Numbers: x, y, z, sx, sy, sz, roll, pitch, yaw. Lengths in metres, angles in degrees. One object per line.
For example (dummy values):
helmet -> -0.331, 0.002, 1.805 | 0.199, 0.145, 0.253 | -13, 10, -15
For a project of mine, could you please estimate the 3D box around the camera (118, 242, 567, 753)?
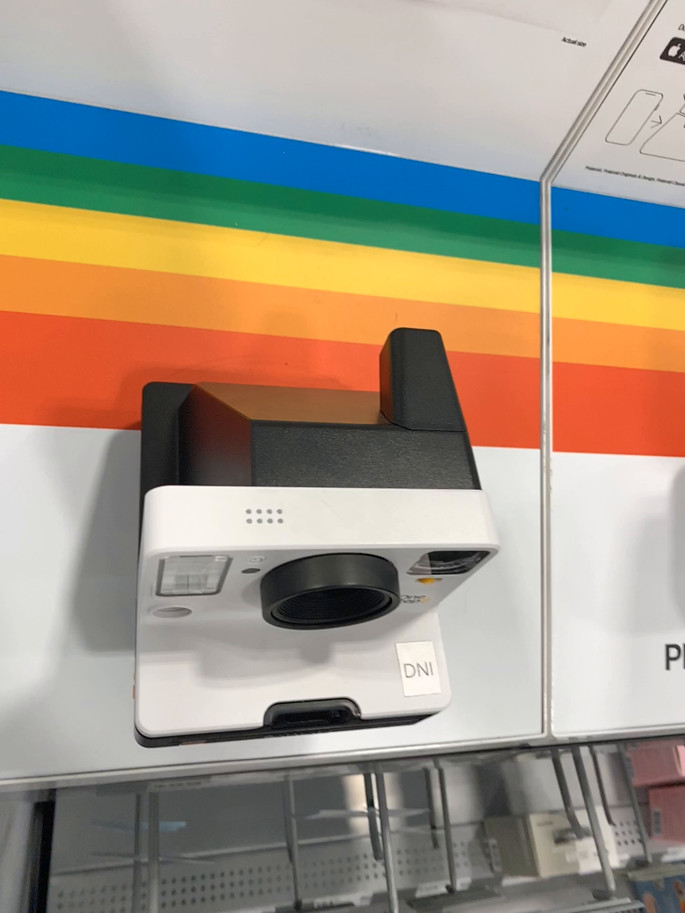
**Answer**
camera -> -0.015, 0.016, 0.253 | 0.120, 0.090, 0.145 | 1, 61, -17
